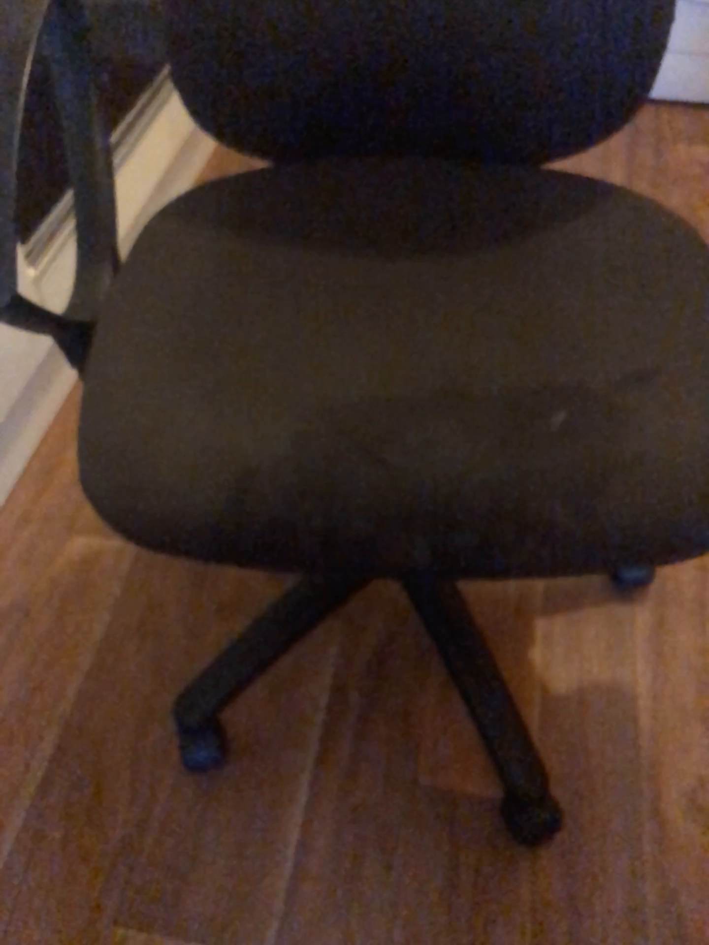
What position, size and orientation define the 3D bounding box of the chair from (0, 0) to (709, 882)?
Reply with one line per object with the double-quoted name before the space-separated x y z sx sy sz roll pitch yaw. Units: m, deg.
"chair" 0.055 -0.214 0.745 0.685 0.756 0.879 2 50 2
